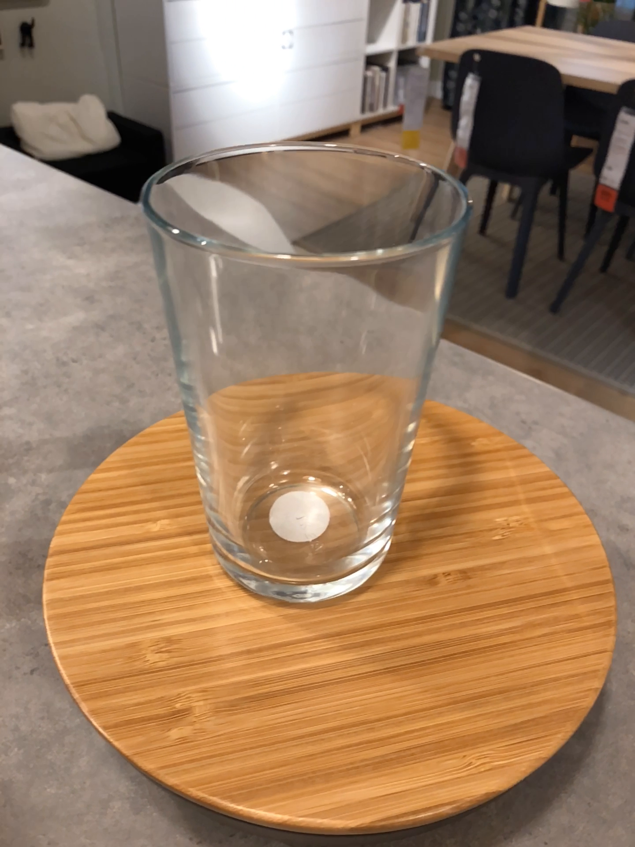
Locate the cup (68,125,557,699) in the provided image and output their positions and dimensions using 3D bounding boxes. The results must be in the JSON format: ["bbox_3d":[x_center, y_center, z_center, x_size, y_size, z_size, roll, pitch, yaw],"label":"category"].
[{"bbox_3d":[0.000,-0.010,0.242,0.100,0.139,0.100,2,36,-2],"label":"cup"}]
